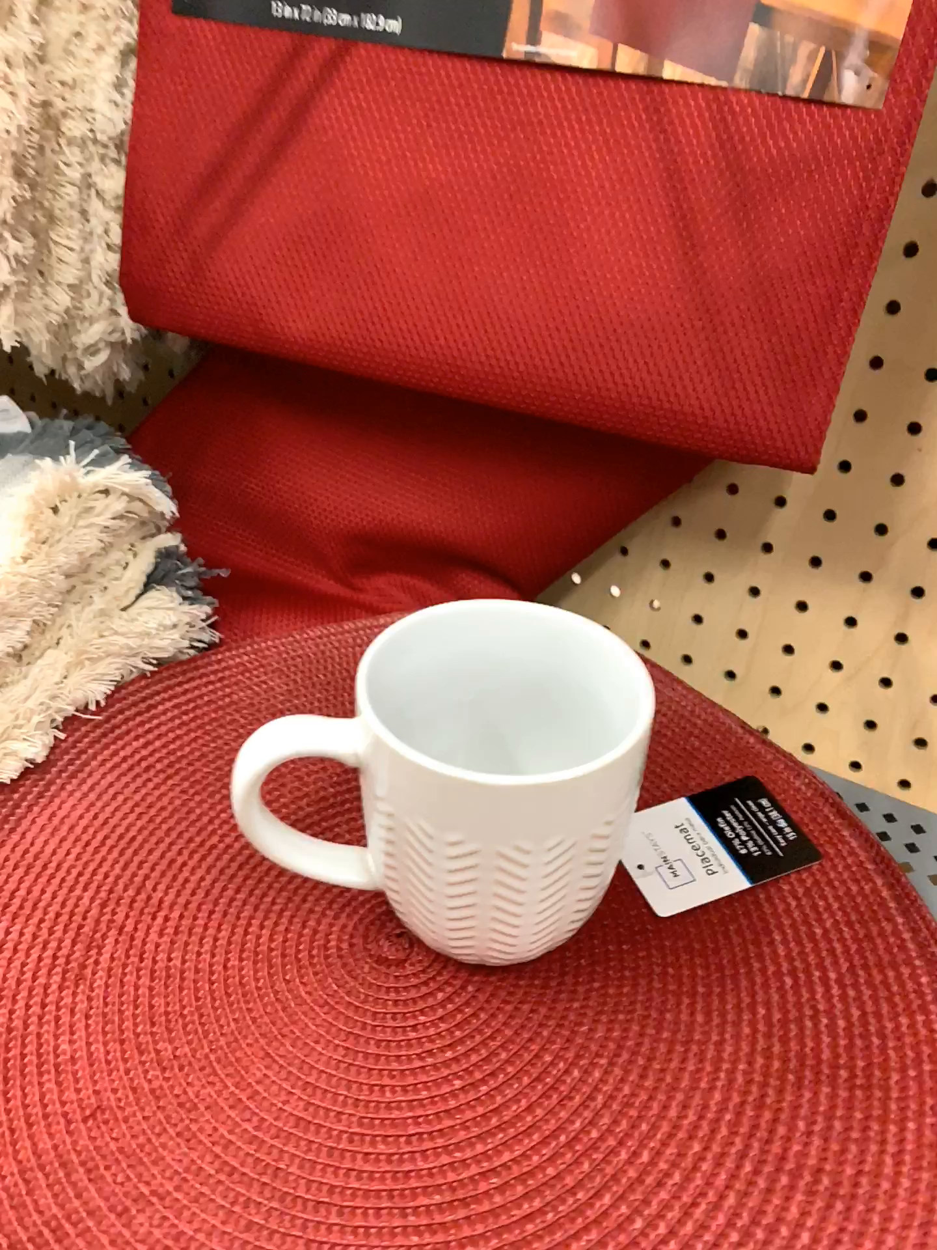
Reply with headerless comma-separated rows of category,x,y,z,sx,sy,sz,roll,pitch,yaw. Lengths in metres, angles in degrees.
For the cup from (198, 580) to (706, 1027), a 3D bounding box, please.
cup,-0.012,0.049,0.322,0.140,0.090,0.100,-5,23,-13
